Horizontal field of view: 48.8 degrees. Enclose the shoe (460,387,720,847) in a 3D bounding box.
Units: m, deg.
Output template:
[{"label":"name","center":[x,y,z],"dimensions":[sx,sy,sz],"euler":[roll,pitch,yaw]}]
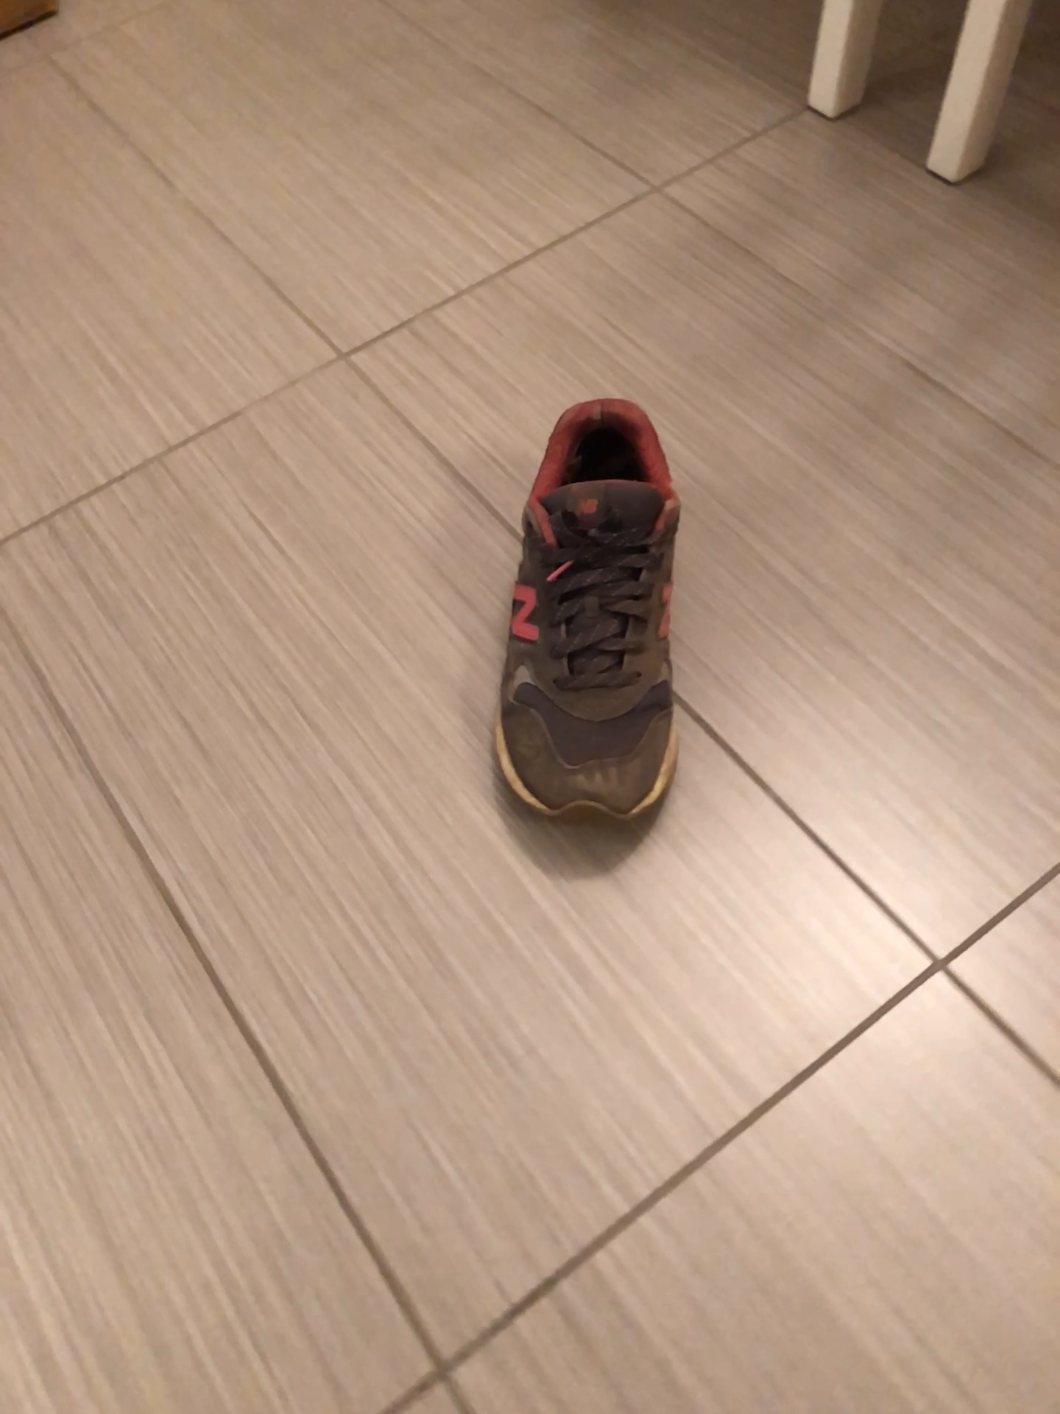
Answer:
[{"label":"shoe","center":[0.043,-0.061,0.660],"dimensions":[0.120,0.070,0.271],"euler":[2,57,8]}]
